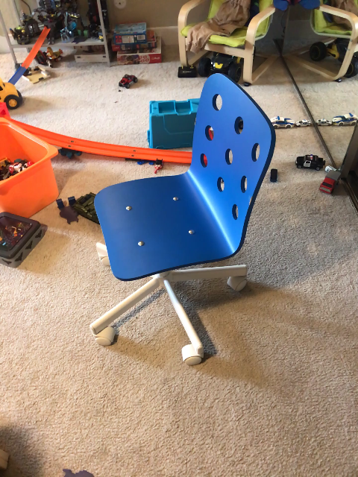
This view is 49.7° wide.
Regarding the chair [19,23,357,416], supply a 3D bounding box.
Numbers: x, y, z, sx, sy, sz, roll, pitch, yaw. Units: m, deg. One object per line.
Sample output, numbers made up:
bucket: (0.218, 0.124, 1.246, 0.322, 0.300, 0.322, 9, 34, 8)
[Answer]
chair: (0.034, -0.020, 1.104, 0.671, 0.814, 0.624, -12, 50, -8)
